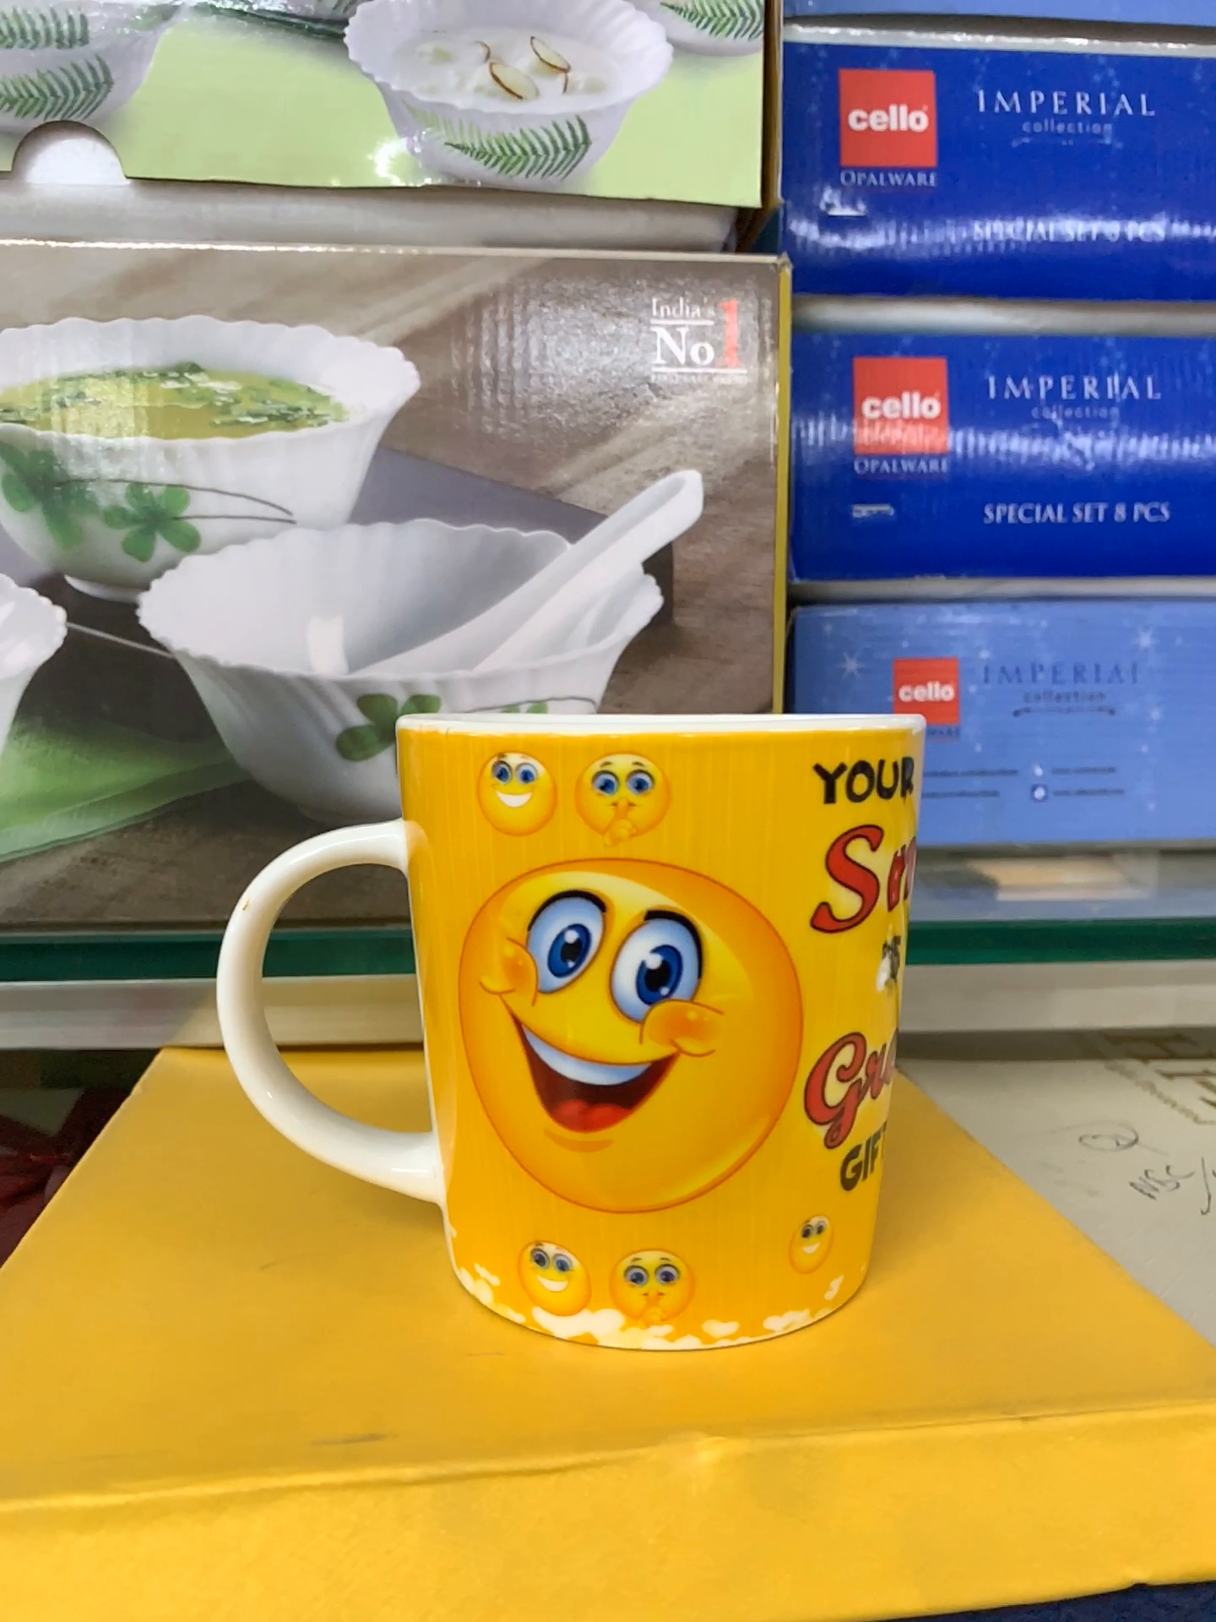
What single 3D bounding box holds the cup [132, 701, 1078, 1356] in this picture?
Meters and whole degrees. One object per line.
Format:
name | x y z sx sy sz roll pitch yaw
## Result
cup | 0.000 0.026 0.199 0.118 0.081 0.072 1 7 2
